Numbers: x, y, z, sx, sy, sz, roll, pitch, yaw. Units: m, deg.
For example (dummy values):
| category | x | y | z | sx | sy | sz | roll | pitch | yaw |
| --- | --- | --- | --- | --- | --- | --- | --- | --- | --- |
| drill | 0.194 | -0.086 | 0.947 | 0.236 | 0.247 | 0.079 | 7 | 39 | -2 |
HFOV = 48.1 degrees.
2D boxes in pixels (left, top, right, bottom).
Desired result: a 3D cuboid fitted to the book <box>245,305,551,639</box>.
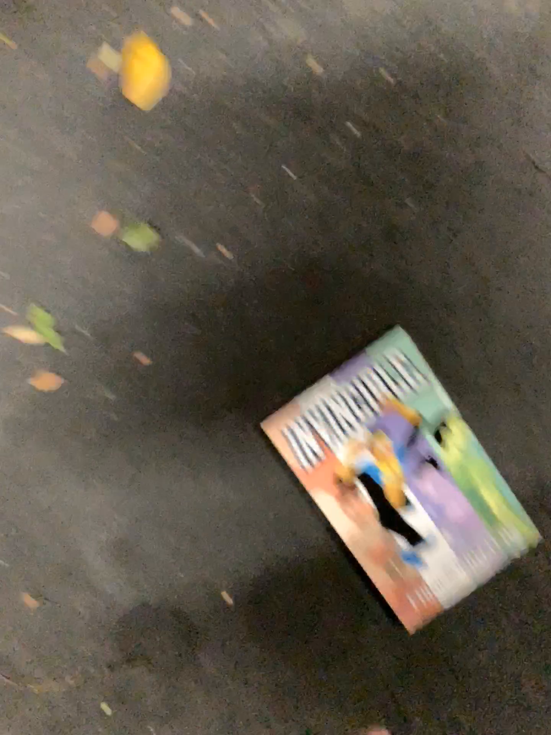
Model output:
| category | x | y | z | sx | sy | sz | roll | pitch | yaw |
| --- | --- | --- | --- | --- | --- | --- | --- | --- | --- |
| book | 0.123 | 0.102 | 0.600 | 0.180 | 0.020 | 0.270 | -37 | 95 | 0 |
